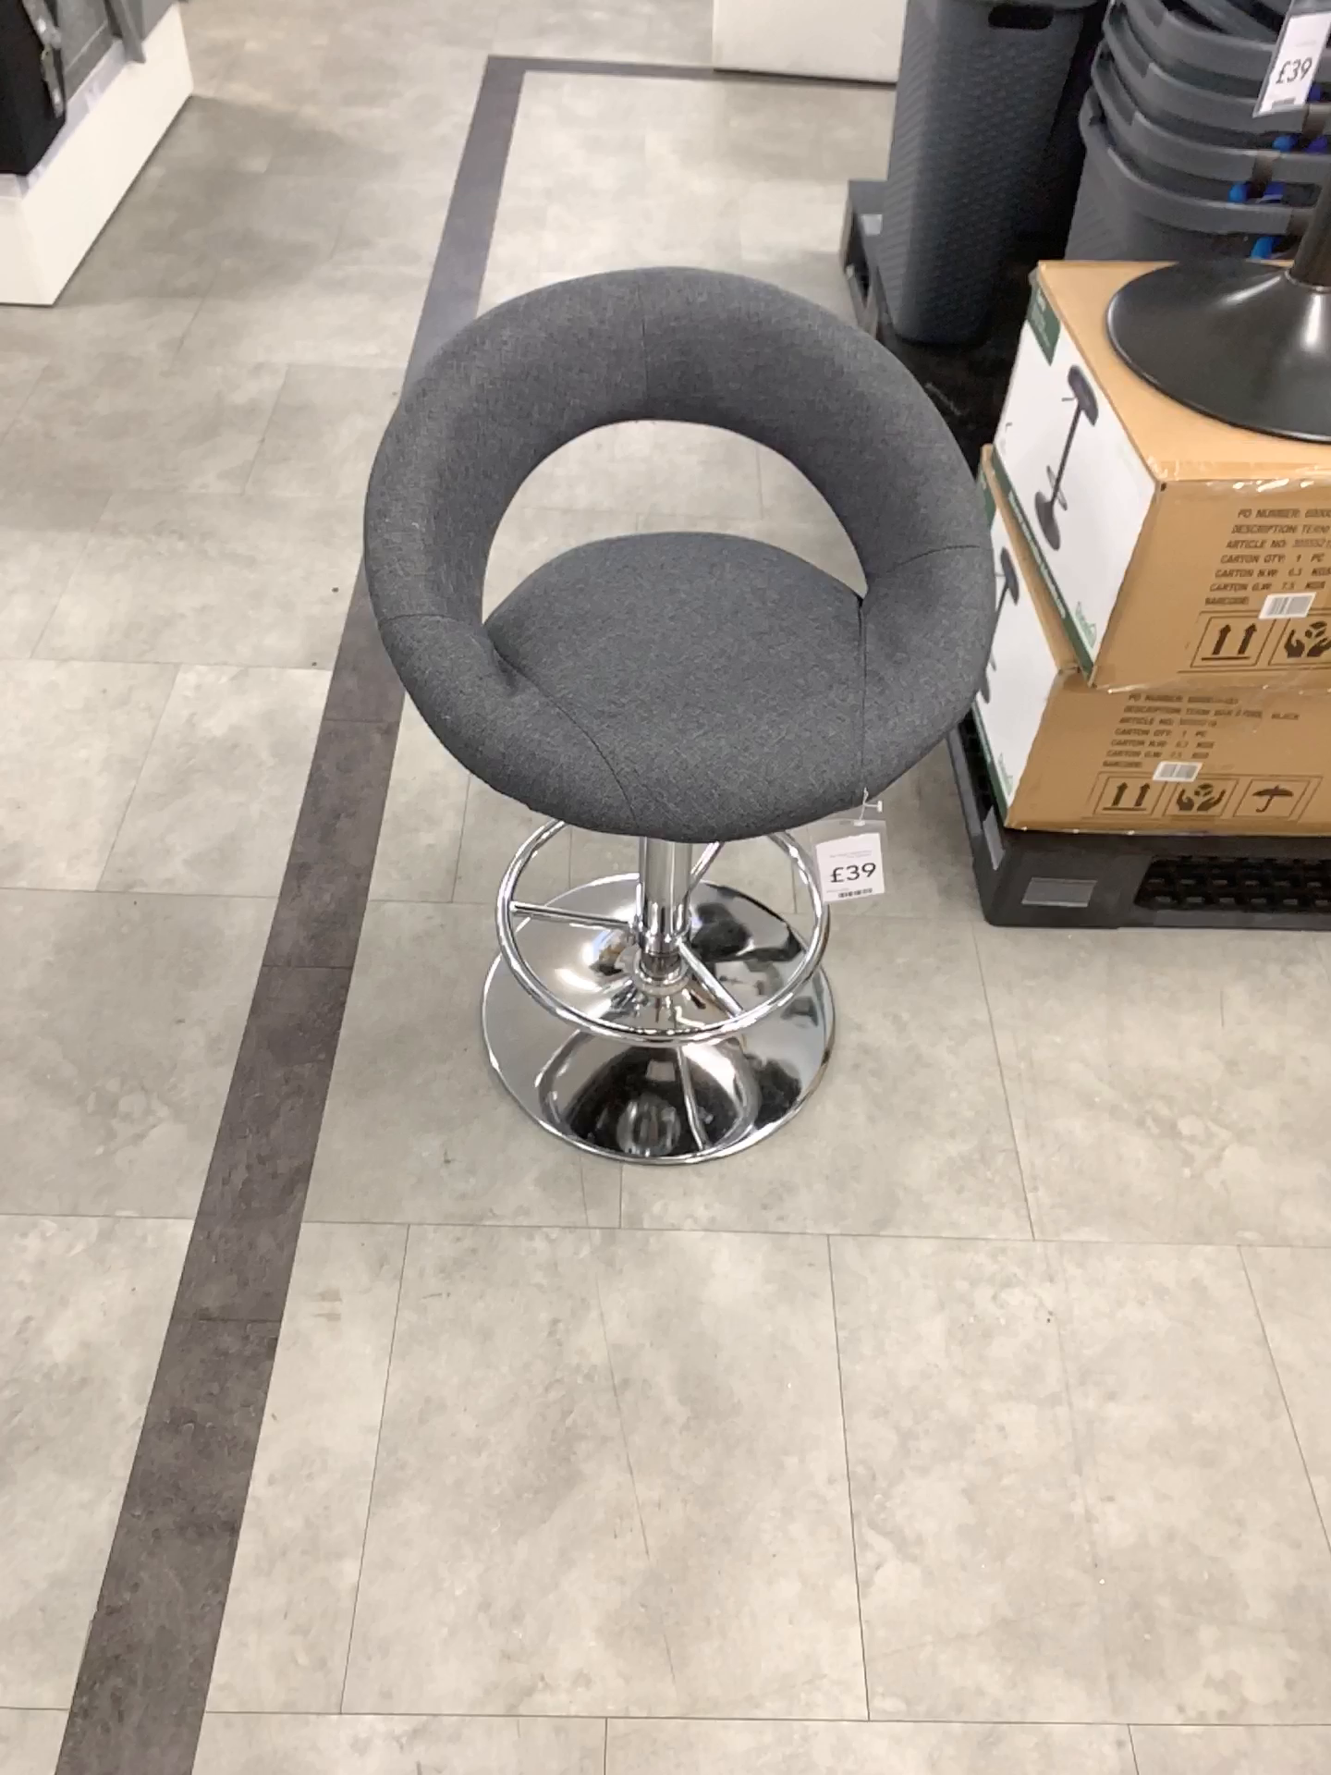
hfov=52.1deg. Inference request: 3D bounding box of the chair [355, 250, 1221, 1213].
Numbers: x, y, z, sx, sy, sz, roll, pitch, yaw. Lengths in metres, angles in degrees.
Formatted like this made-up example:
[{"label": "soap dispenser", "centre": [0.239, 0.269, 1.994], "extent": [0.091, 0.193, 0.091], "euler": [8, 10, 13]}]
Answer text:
[{"label": "chair", "centre": [0.030, -0.147, 1.319], "extent": [0.572, 0.664, 0.597], "euler": [-5, 49, -8]}]
